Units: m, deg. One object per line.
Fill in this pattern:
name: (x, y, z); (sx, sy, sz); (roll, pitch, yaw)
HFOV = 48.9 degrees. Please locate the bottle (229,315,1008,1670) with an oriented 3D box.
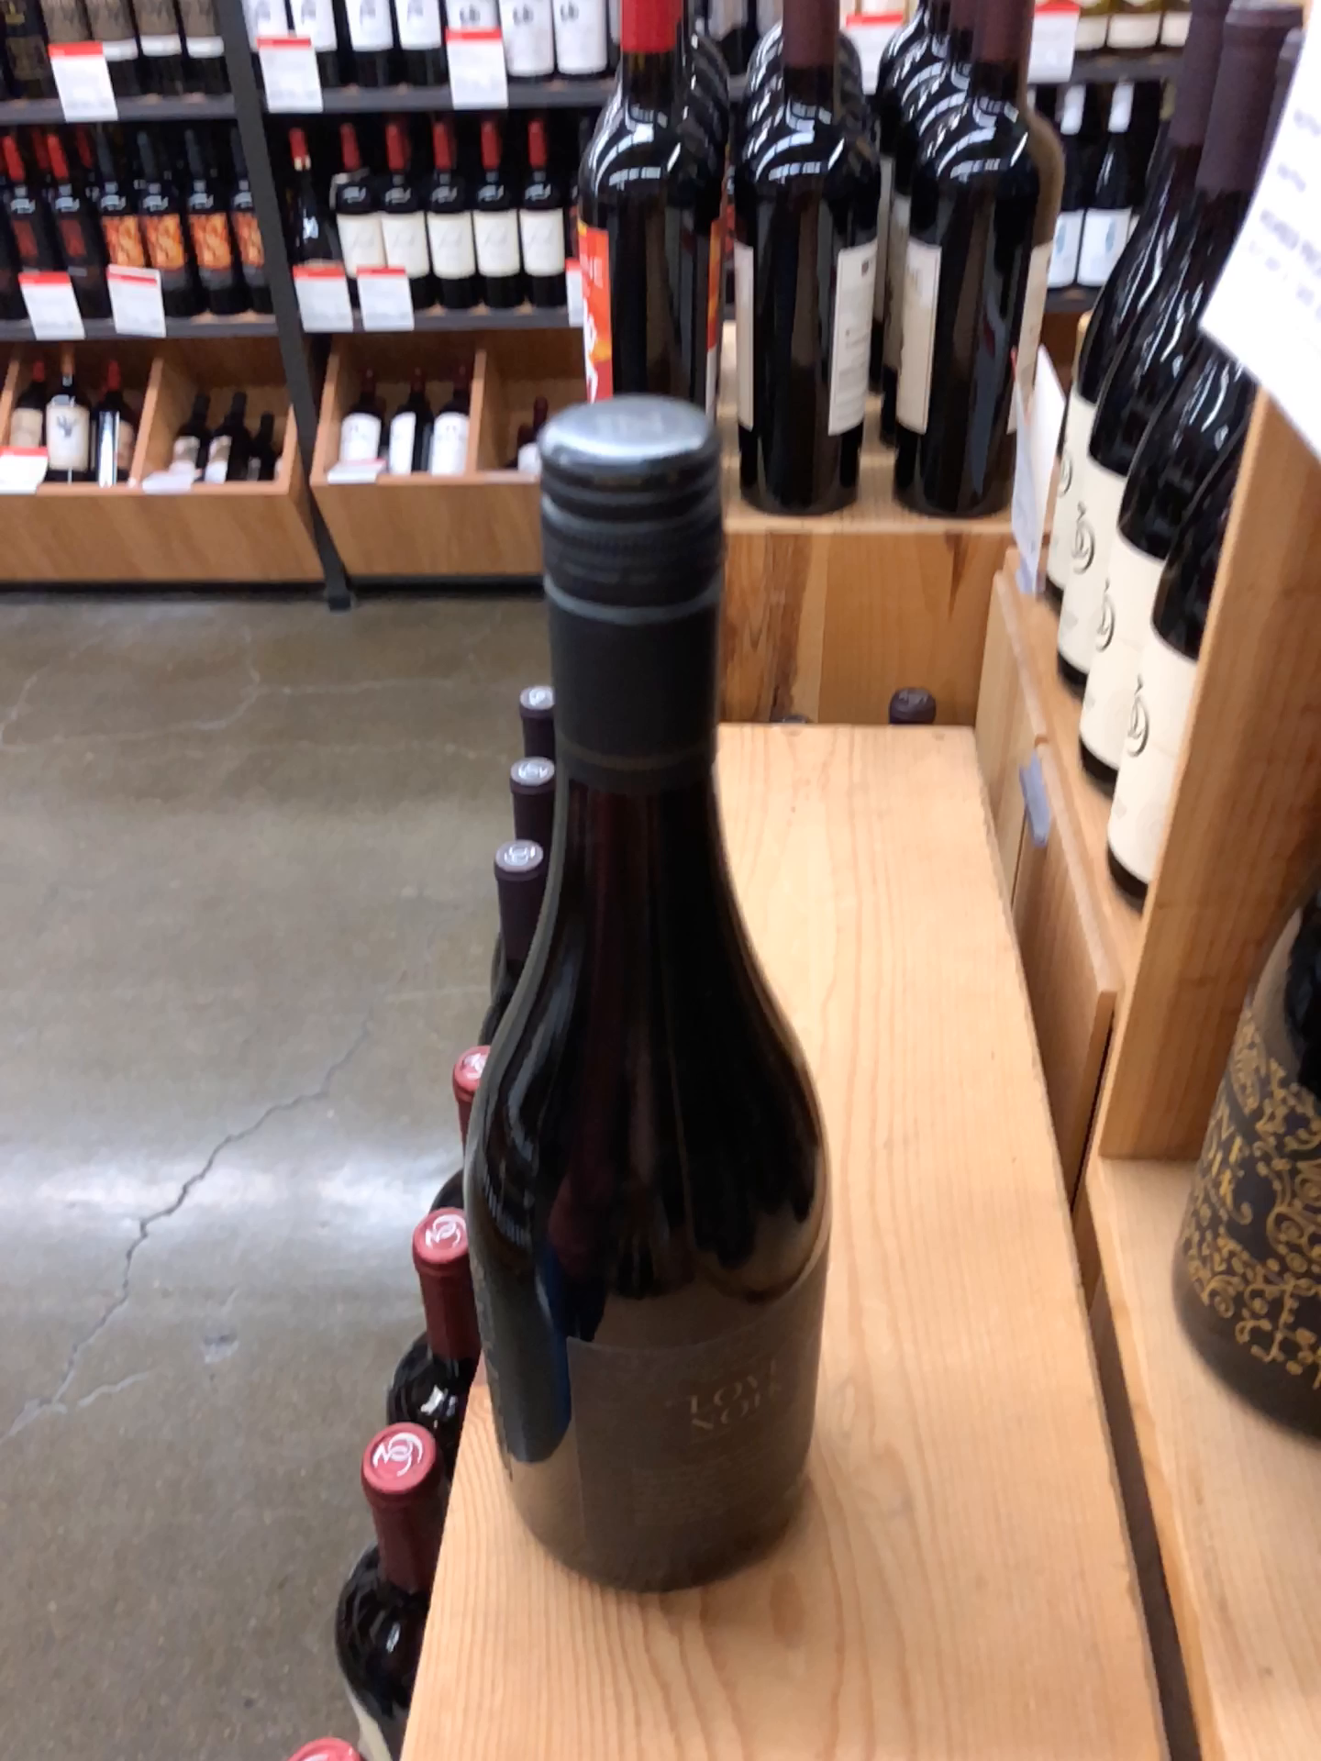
bottle: (-0.003, 0.042, 0.318); (0.090, 0.285, 0.086); (-1, 37, 1)
